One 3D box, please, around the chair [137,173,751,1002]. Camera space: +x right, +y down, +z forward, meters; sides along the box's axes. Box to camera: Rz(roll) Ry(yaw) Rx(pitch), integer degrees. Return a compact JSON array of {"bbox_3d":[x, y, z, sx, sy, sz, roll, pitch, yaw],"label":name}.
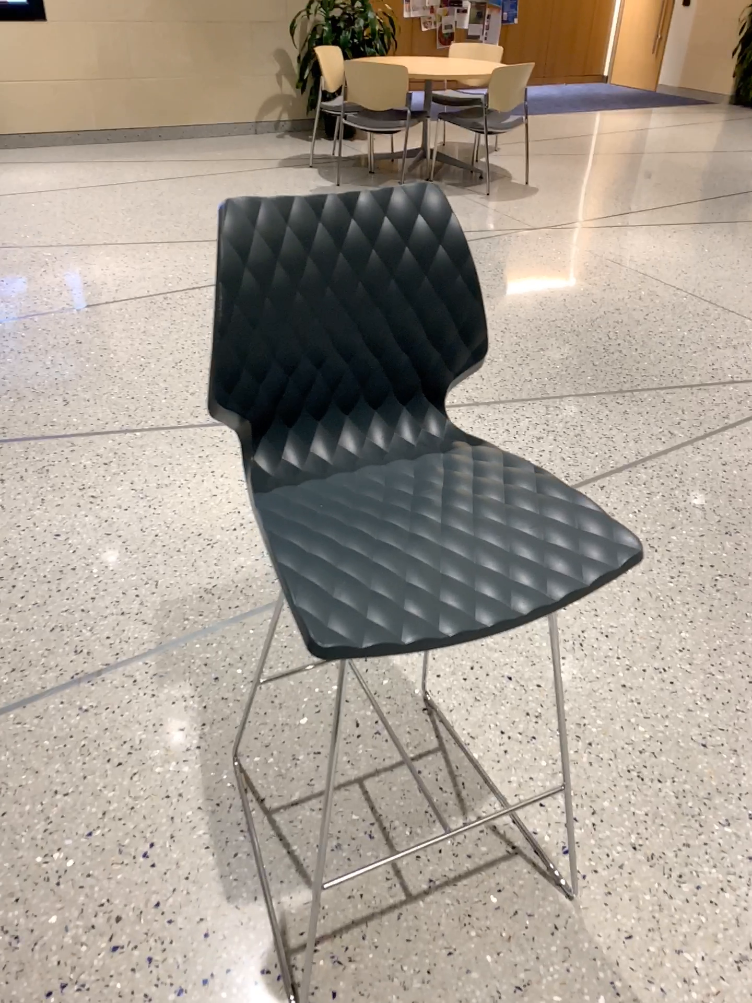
[{"bbox_3d":[0.050,0.143,1.068,0.535,0.995,0.535,-12,37,-19],"label":"chair"}]
